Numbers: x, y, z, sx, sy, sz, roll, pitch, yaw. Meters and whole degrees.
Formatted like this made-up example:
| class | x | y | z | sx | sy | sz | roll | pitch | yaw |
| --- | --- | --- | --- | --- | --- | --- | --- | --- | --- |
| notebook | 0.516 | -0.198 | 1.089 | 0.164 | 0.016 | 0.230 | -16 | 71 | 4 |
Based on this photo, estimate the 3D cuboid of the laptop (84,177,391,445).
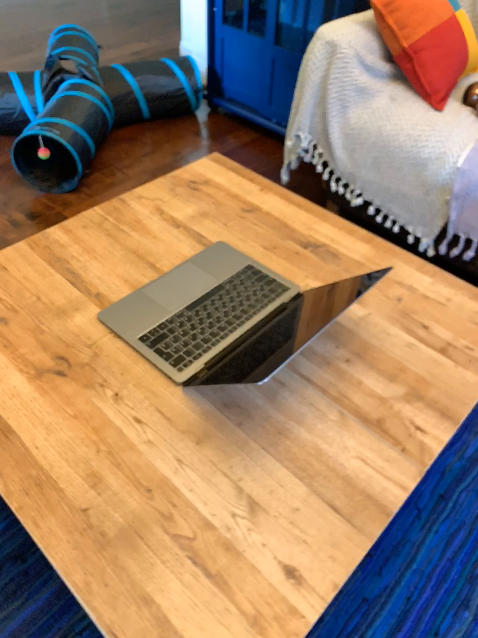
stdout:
| class | x | y | z | sx | sy | sz | roll | pitch | yaw |
| --- | --- | --- | --- | --- | --- | --- | --- | --- | --- |
| laptop | -0.006 | -0.042 | 0.780 | 0.354 | 0.141 | 0.291 | 35 | 53 | 28 |
